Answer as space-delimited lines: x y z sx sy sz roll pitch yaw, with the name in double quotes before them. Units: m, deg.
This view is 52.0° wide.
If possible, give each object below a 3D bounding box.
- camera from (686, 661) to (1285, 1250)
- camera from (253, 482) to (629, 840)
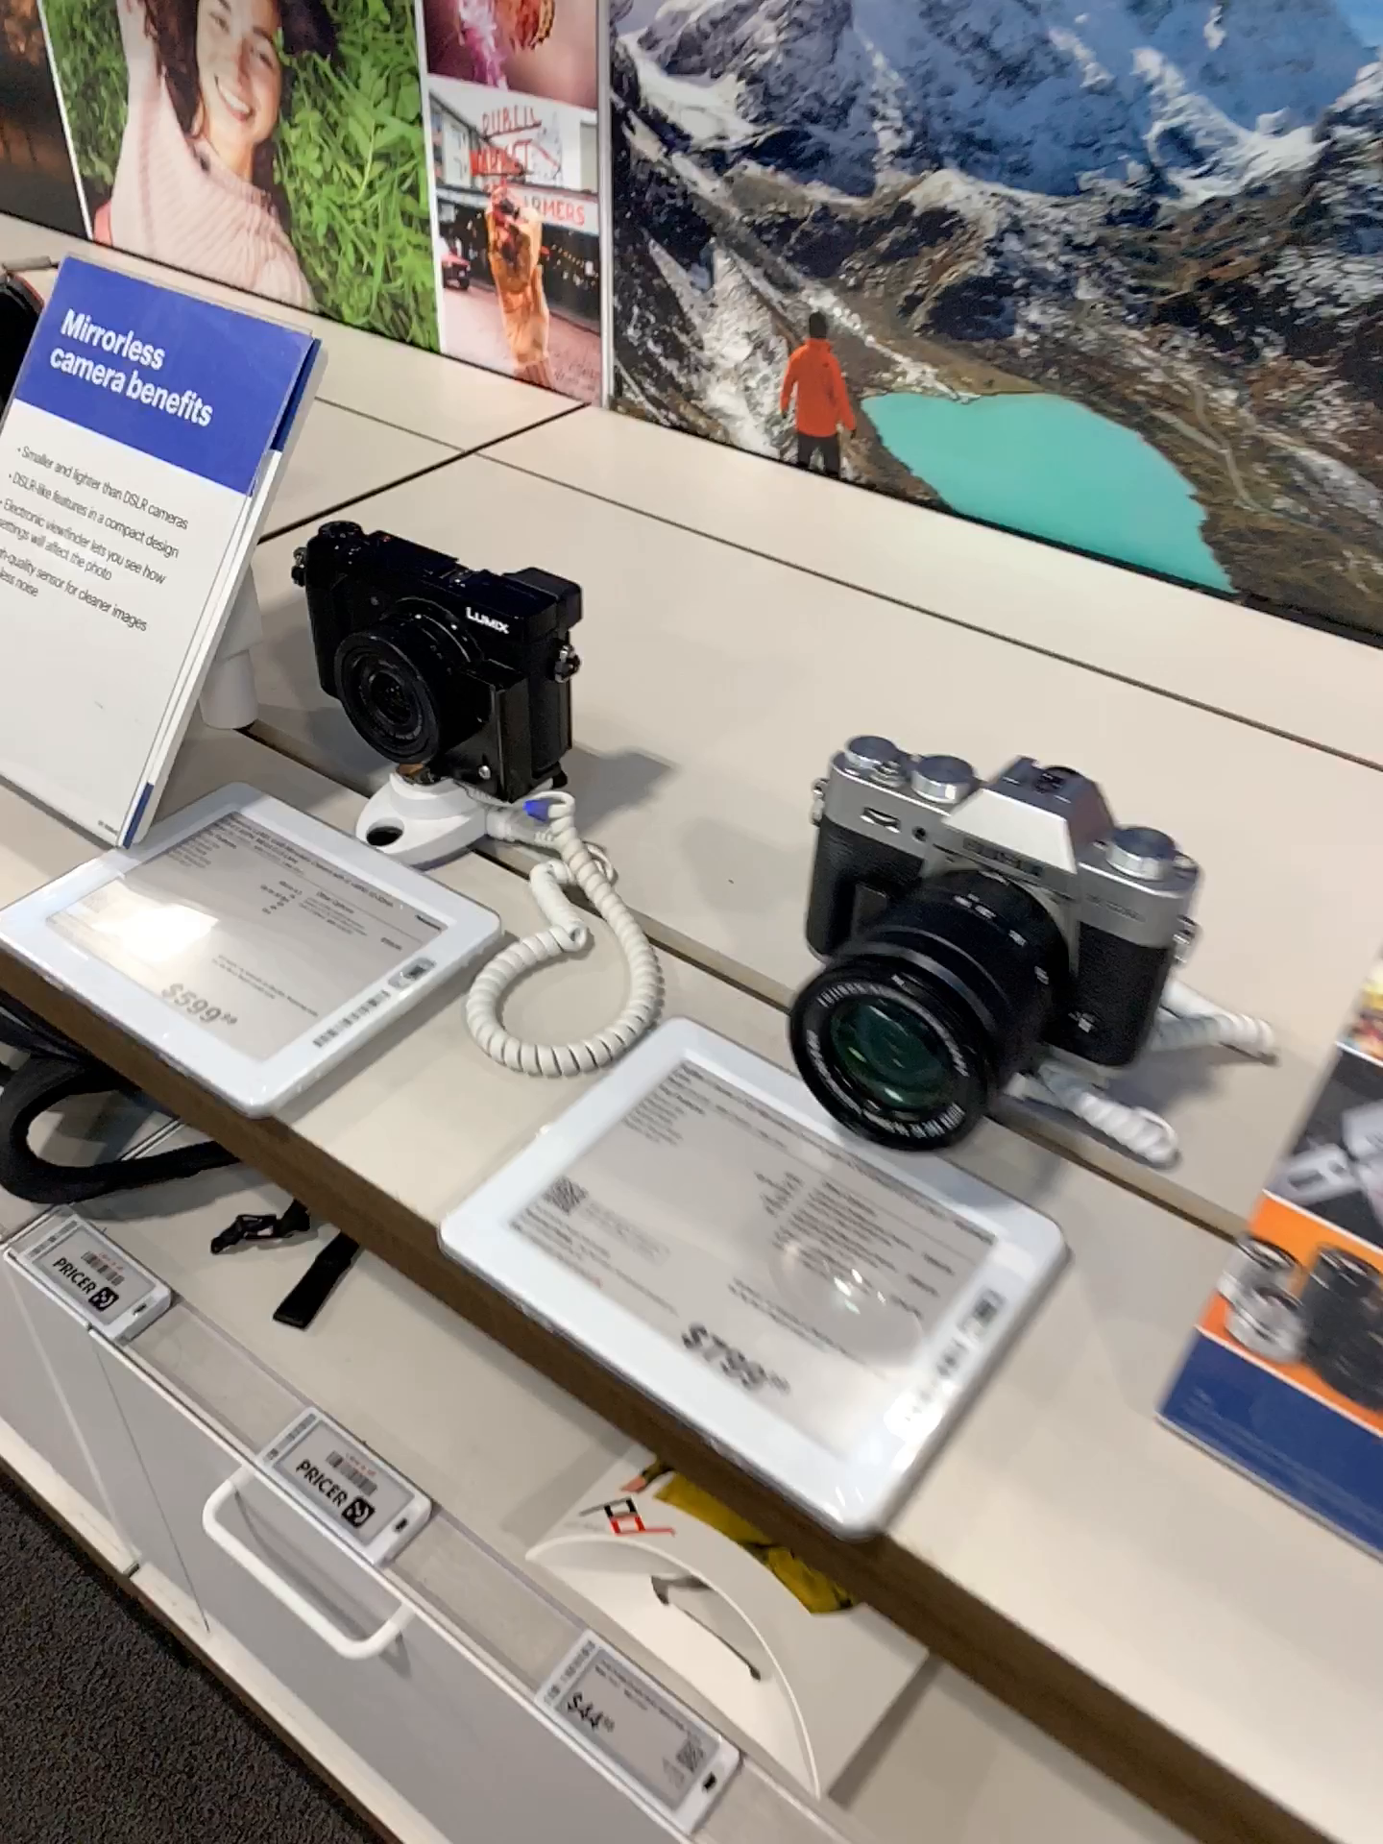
"camera" 0.083 0.002 0.415 0.120 0.080 0.120 26 46 25
"camera" -0.093 -0.102 0.541 0.120 0.080 0.070 26 46 26
